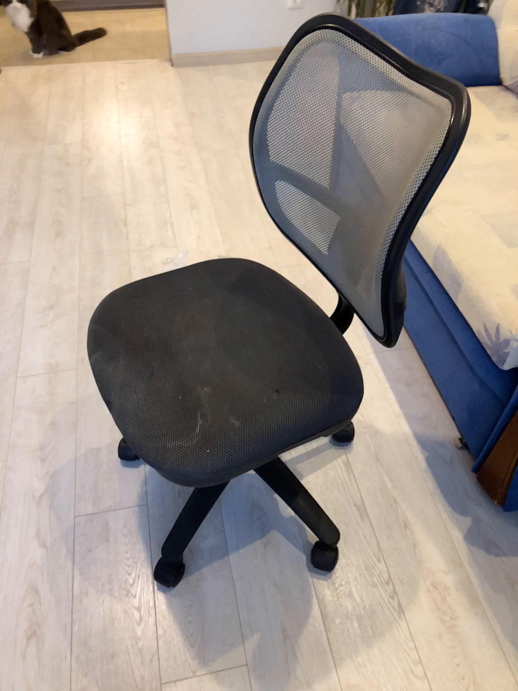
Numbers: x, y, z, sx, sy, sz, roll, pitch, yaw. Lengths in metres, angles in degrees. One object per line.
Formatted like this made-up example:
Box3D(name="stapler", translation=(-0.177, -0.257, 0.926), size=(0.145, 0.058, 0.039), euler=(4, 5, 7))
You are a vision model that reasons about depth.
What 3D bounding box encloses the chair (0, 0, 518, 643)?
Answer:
Box3D(name="chair", translation=(-0.052, -0.074, 0.921), size=(0.511, 0.735, 0.663), euler=(-17, 49, -17))
